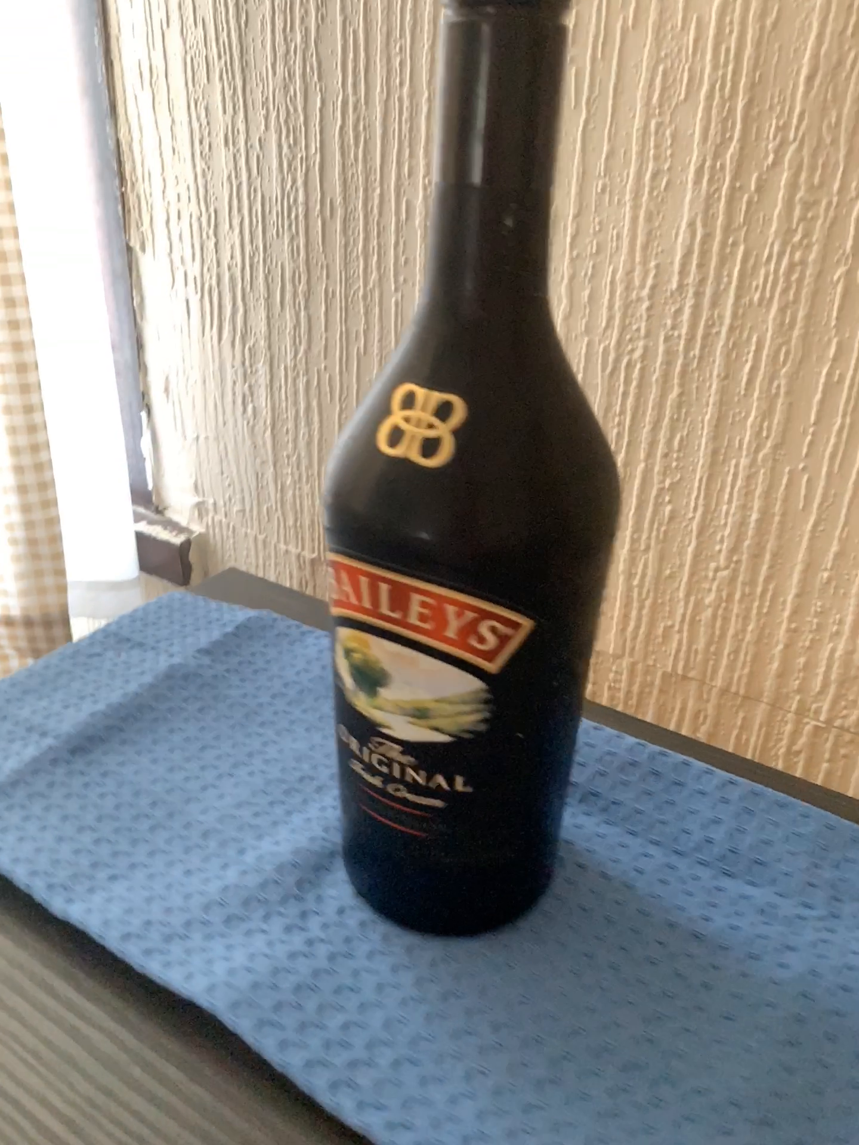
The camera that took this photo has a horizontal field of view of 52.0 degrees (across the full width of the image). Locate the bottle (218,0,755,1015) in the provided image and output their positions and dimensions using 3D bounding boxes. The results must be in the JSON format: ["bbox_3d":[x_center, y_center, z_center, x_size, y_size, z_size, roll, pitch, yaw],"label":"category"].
[{"bbox_3d":[0.009,-0.020,0.249,0.090,0.287,0.070,17,31,27],"label":"bottle"}]
